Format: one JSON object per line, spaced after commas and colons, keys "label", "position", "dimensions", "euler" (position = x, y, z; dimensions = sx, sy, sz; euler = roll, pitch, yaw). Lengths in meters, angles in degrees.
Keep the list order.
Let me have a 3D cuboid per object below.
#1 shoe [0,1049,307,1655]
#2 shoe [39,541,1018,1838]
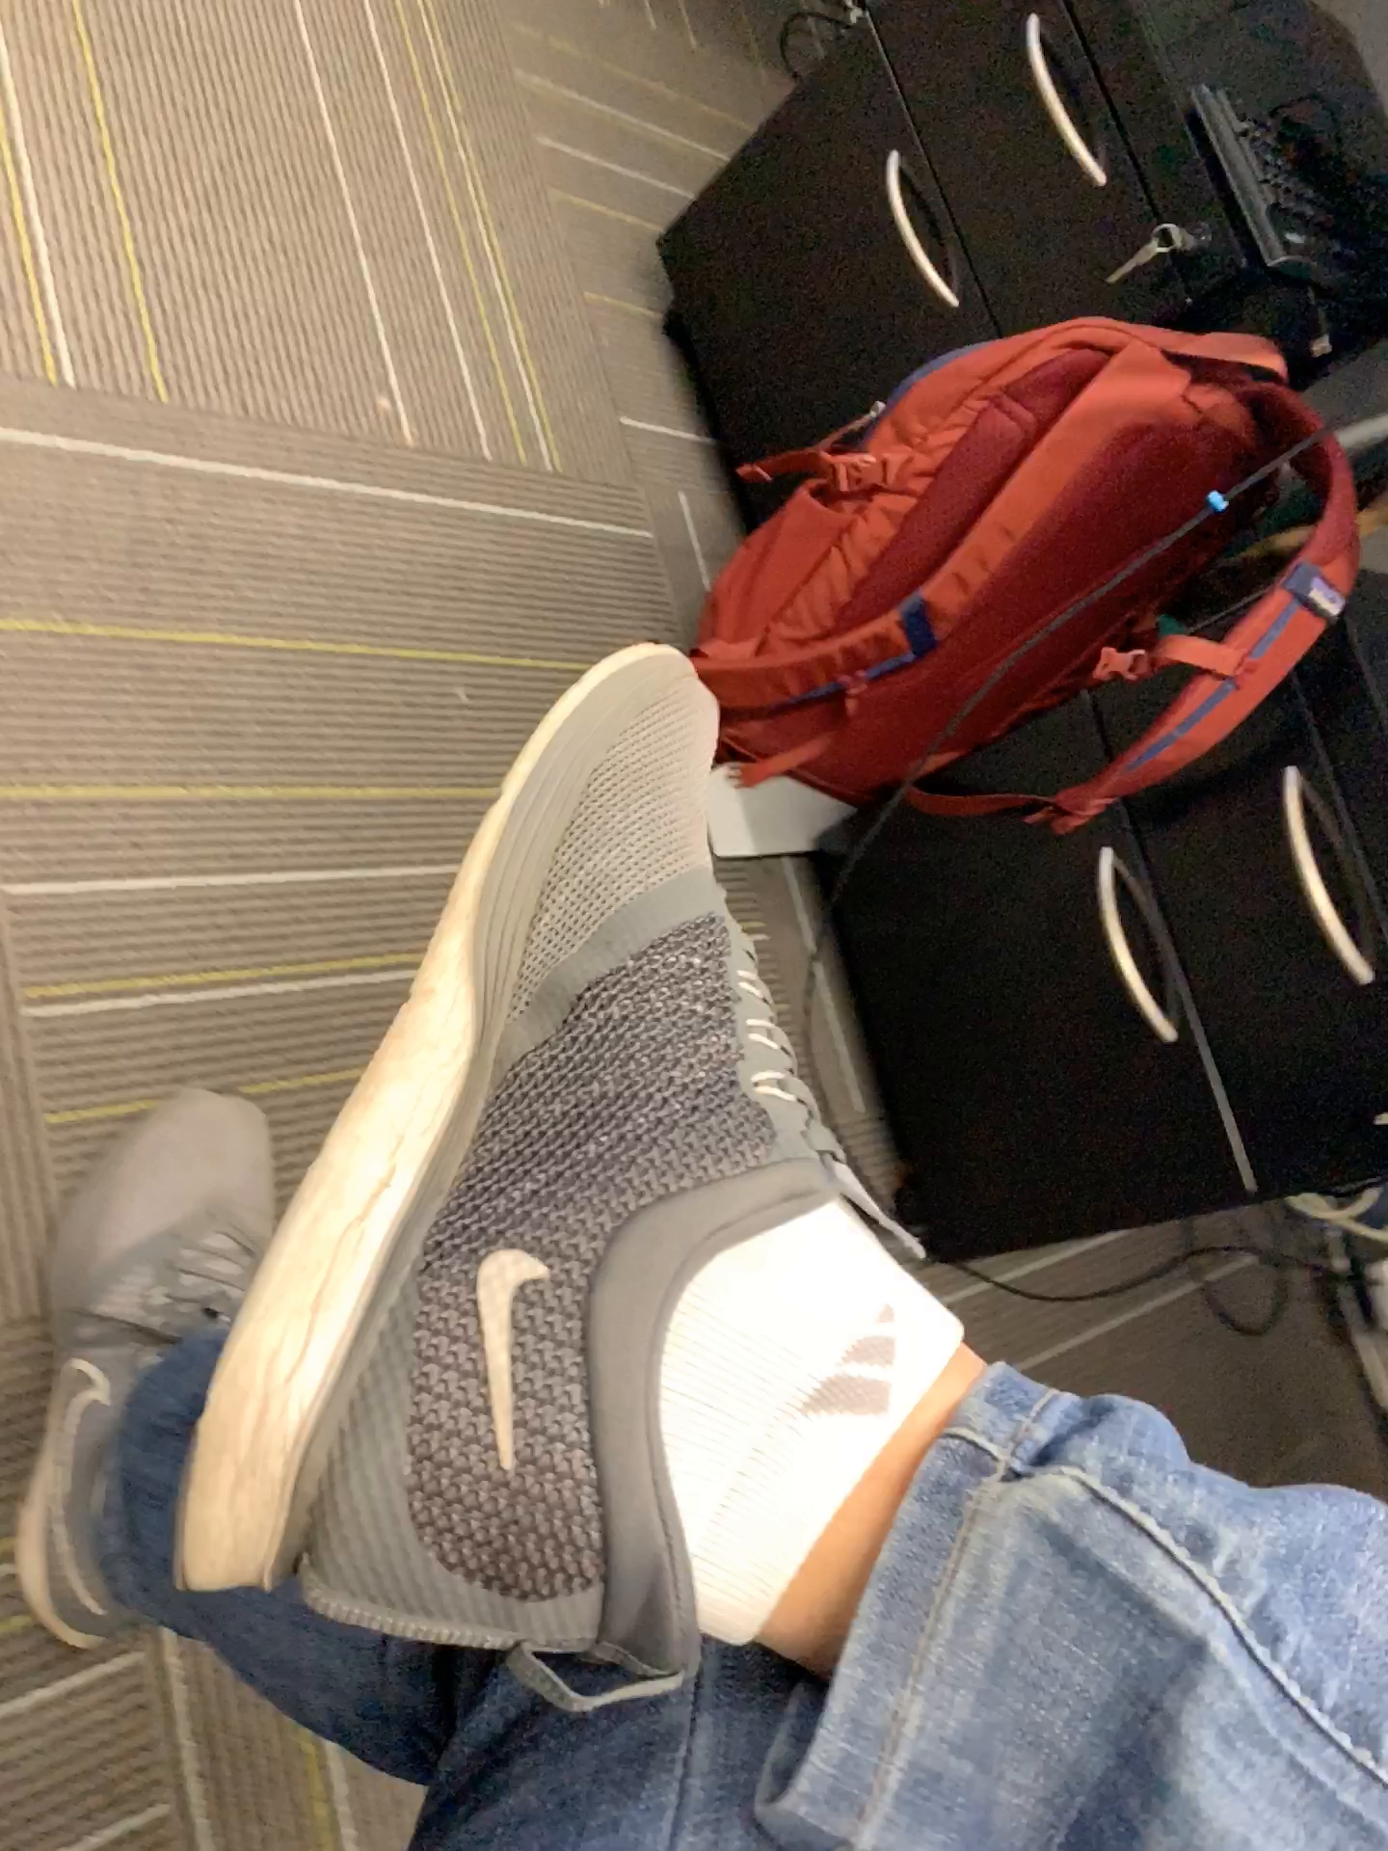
{"label": "shoe", "position": [-0.298, 0.227, 0.774], "dimensions": [0.117, 0.074, 0.293], "euler": [18, 61, -35]}
{"label": "shoe", "position": [-0.016, 0.047, 0.381], "dimensions": [0.142, 0.115, 0.295], "euler": [16, 51, 3]}
